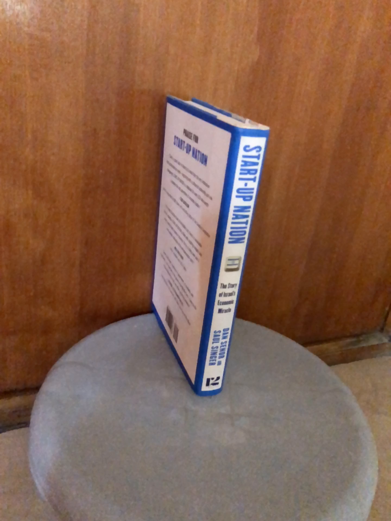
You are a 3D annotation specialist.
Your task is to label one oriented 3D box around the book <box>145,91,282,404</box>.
[{"bbox_3d":[-0.003,-0.027,0.407,0.040,0.229,0.201,-3,25,-18],"label":"book"}]
